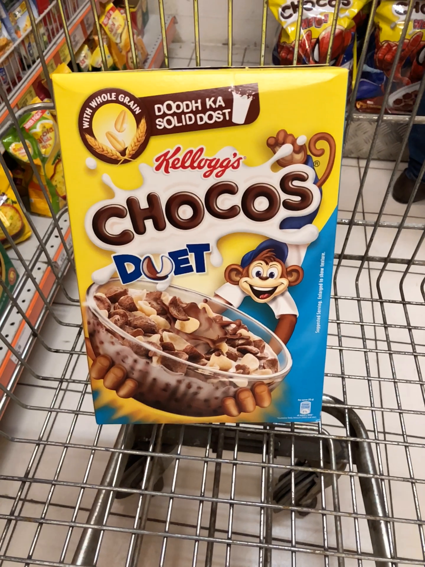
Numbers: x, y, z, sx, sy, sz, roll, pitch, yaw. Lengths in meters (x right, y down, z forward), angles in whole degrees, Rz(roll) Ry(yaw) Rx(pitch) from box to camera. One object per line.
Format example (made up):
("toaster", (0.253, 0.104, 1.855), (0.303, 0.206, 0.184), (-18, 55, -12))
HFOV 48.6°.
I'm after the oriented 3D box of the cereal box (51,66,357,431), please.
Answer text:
("cereal box", (-0.004, -0.019, 0.355), (0.180, 0.259, 0.070), (0, 21, 0))
